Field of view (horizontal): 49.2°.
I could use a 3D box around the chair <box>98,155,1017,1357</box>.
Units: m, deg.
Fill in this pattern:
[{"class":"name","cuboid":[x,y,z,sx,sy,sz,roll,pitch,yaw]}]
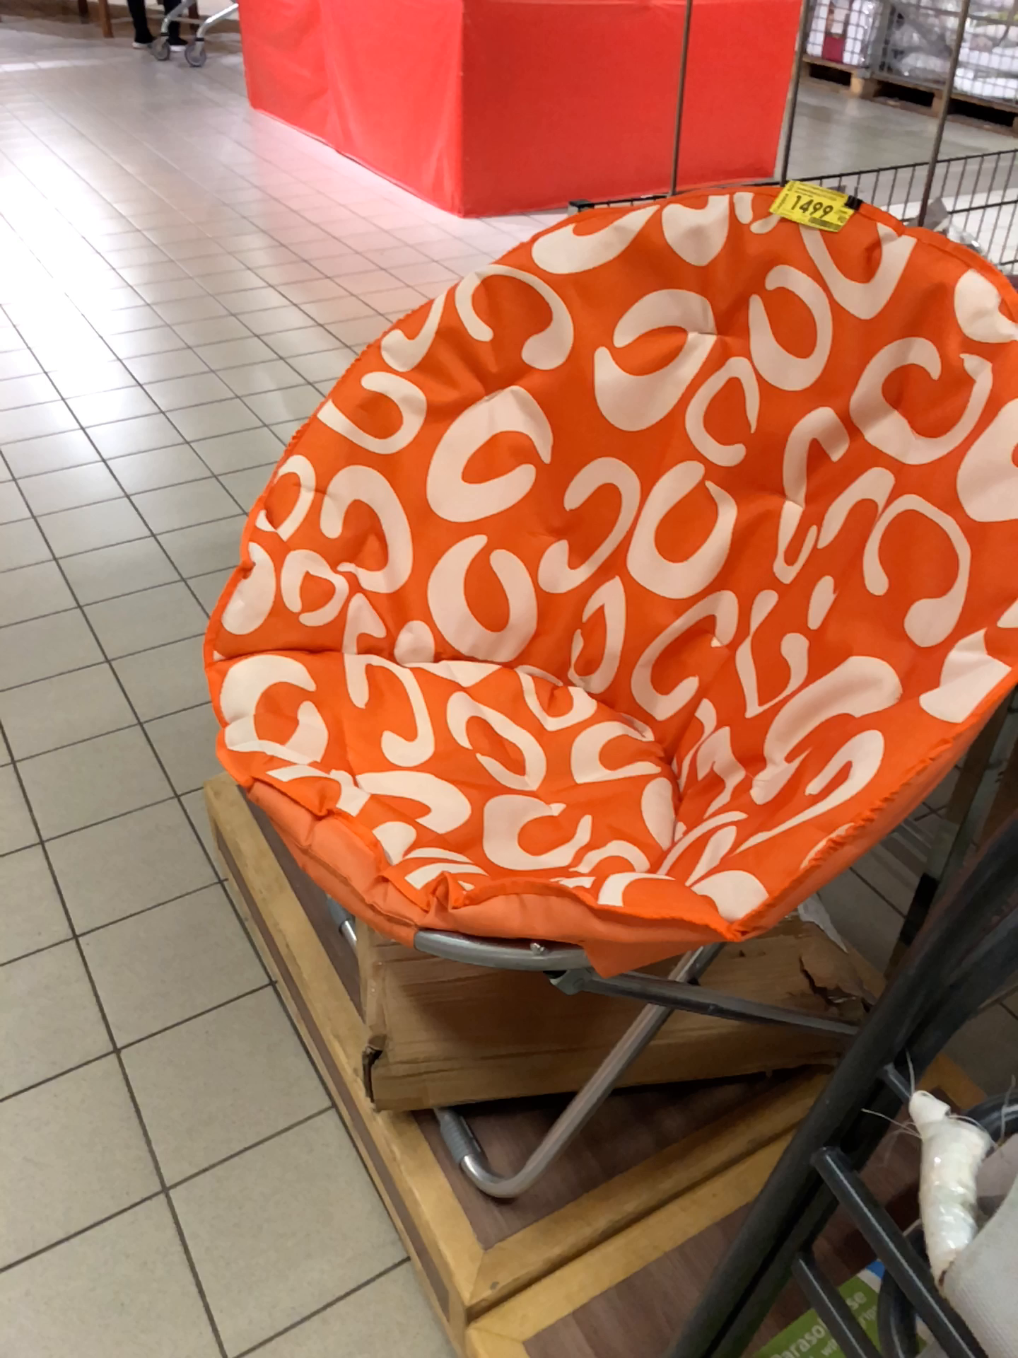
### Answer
[{"class":"chair","cuboid":[0.118,-0.046,1.013,0.712,0.606,0.737,-15,40,-22]}]
